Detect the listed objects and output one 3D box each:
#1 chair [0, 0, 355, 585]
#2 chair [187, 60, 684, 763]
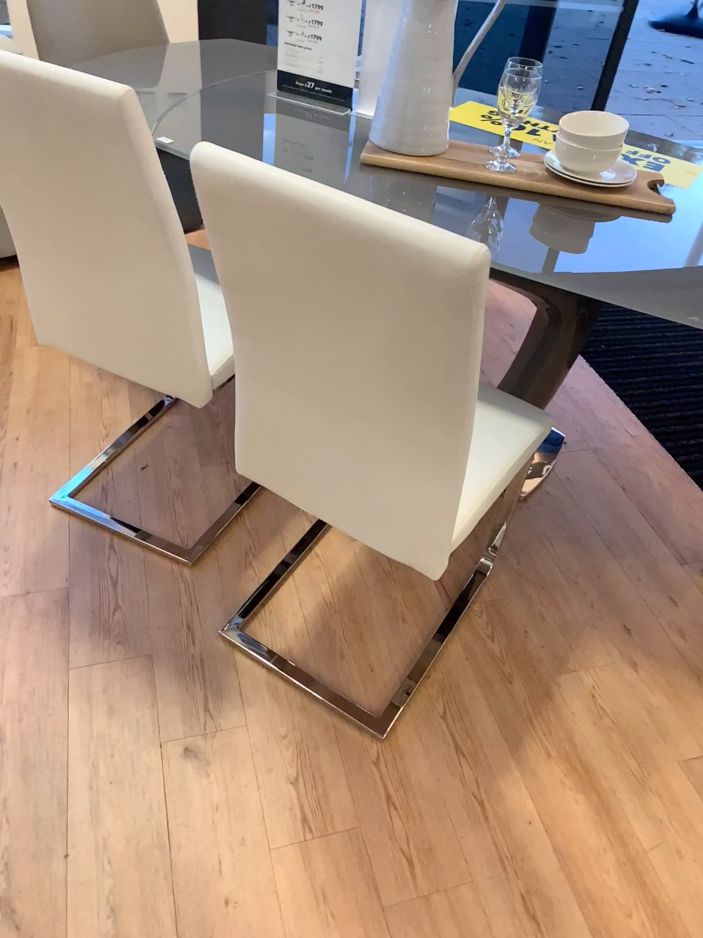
[{"bbox_3d":[-0.349,-0.335,1.415,0.432,0.933,0.529,21,43,15],"label":"chair"},{"bbox_3d":[0.093,-0.068,1.177,0.423,0.923,0.539,26,44,19],"label":"chair"}]
